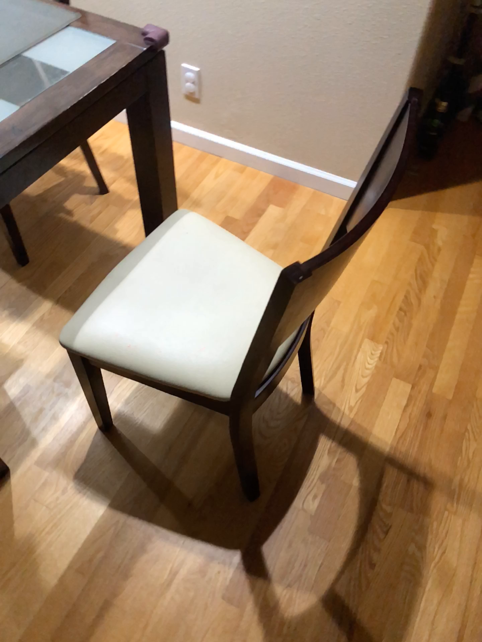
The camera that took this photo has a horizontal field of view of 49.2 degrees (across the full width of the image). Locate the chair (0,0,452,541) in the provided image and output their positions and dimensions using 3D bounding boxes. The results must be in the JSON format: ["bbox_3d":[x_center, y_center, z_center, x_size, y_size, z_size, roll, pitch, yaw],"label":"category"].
[{"bbox_3d":[-0.065,-0.026,1.185,0.640,1.005,0.502,21,55,14],"label":"chair"}]
